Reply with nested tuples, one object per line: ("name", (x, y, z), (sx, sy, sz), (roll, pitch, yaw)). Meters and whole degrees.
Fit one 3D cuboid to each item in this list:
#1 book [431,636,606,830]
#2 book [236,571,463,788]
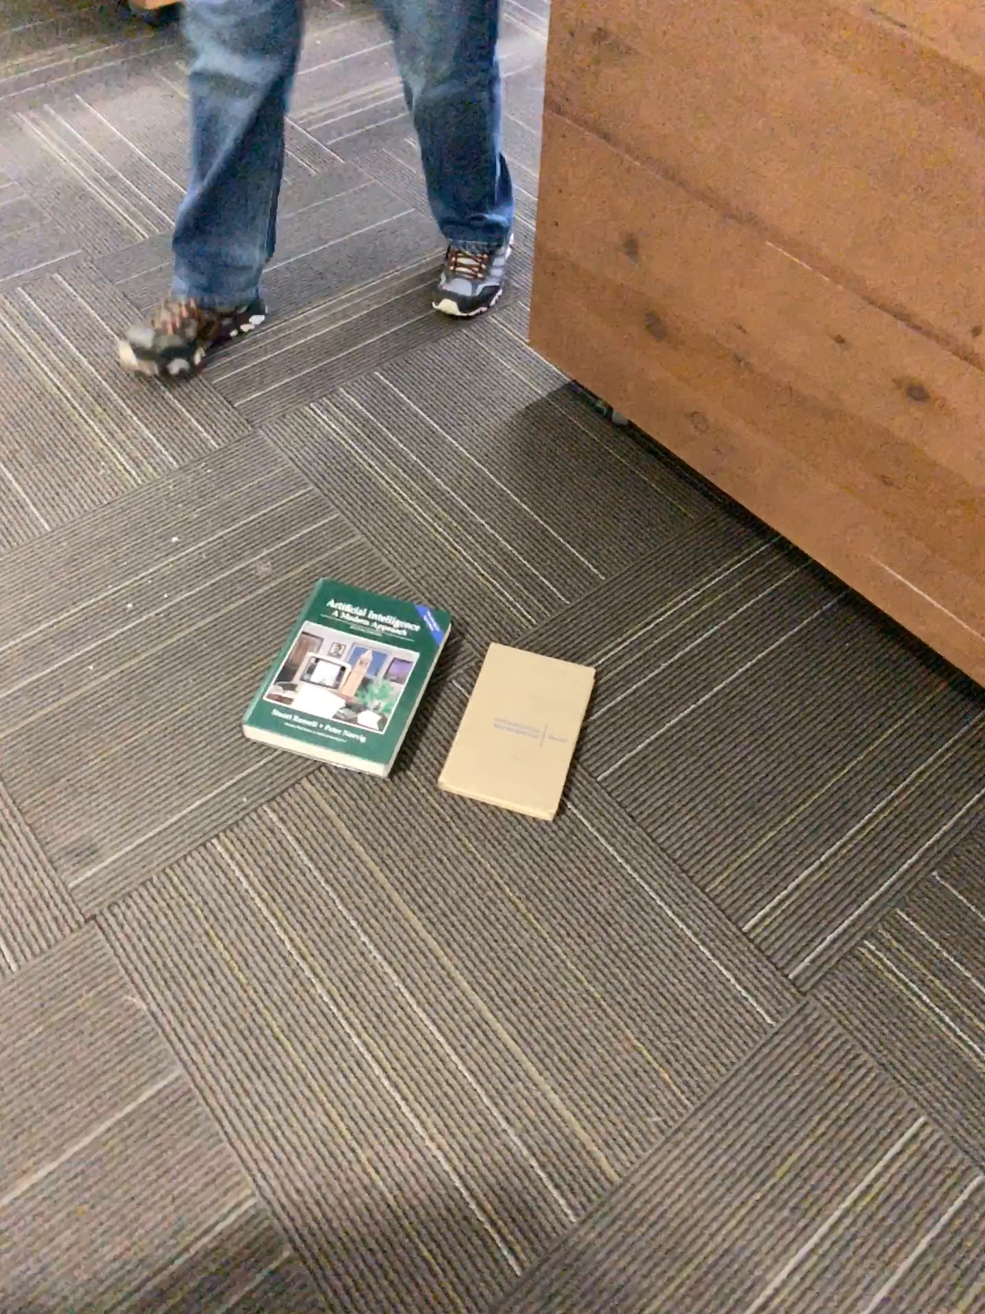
("book", (0.039, 0.095, 1.342), (0.170, 0.023, 0.246), (15, 56, 9))
("book", (-0.187, 0.023, 1.381), (0.220, 0.050, 0.271), (15, 56, 9))
